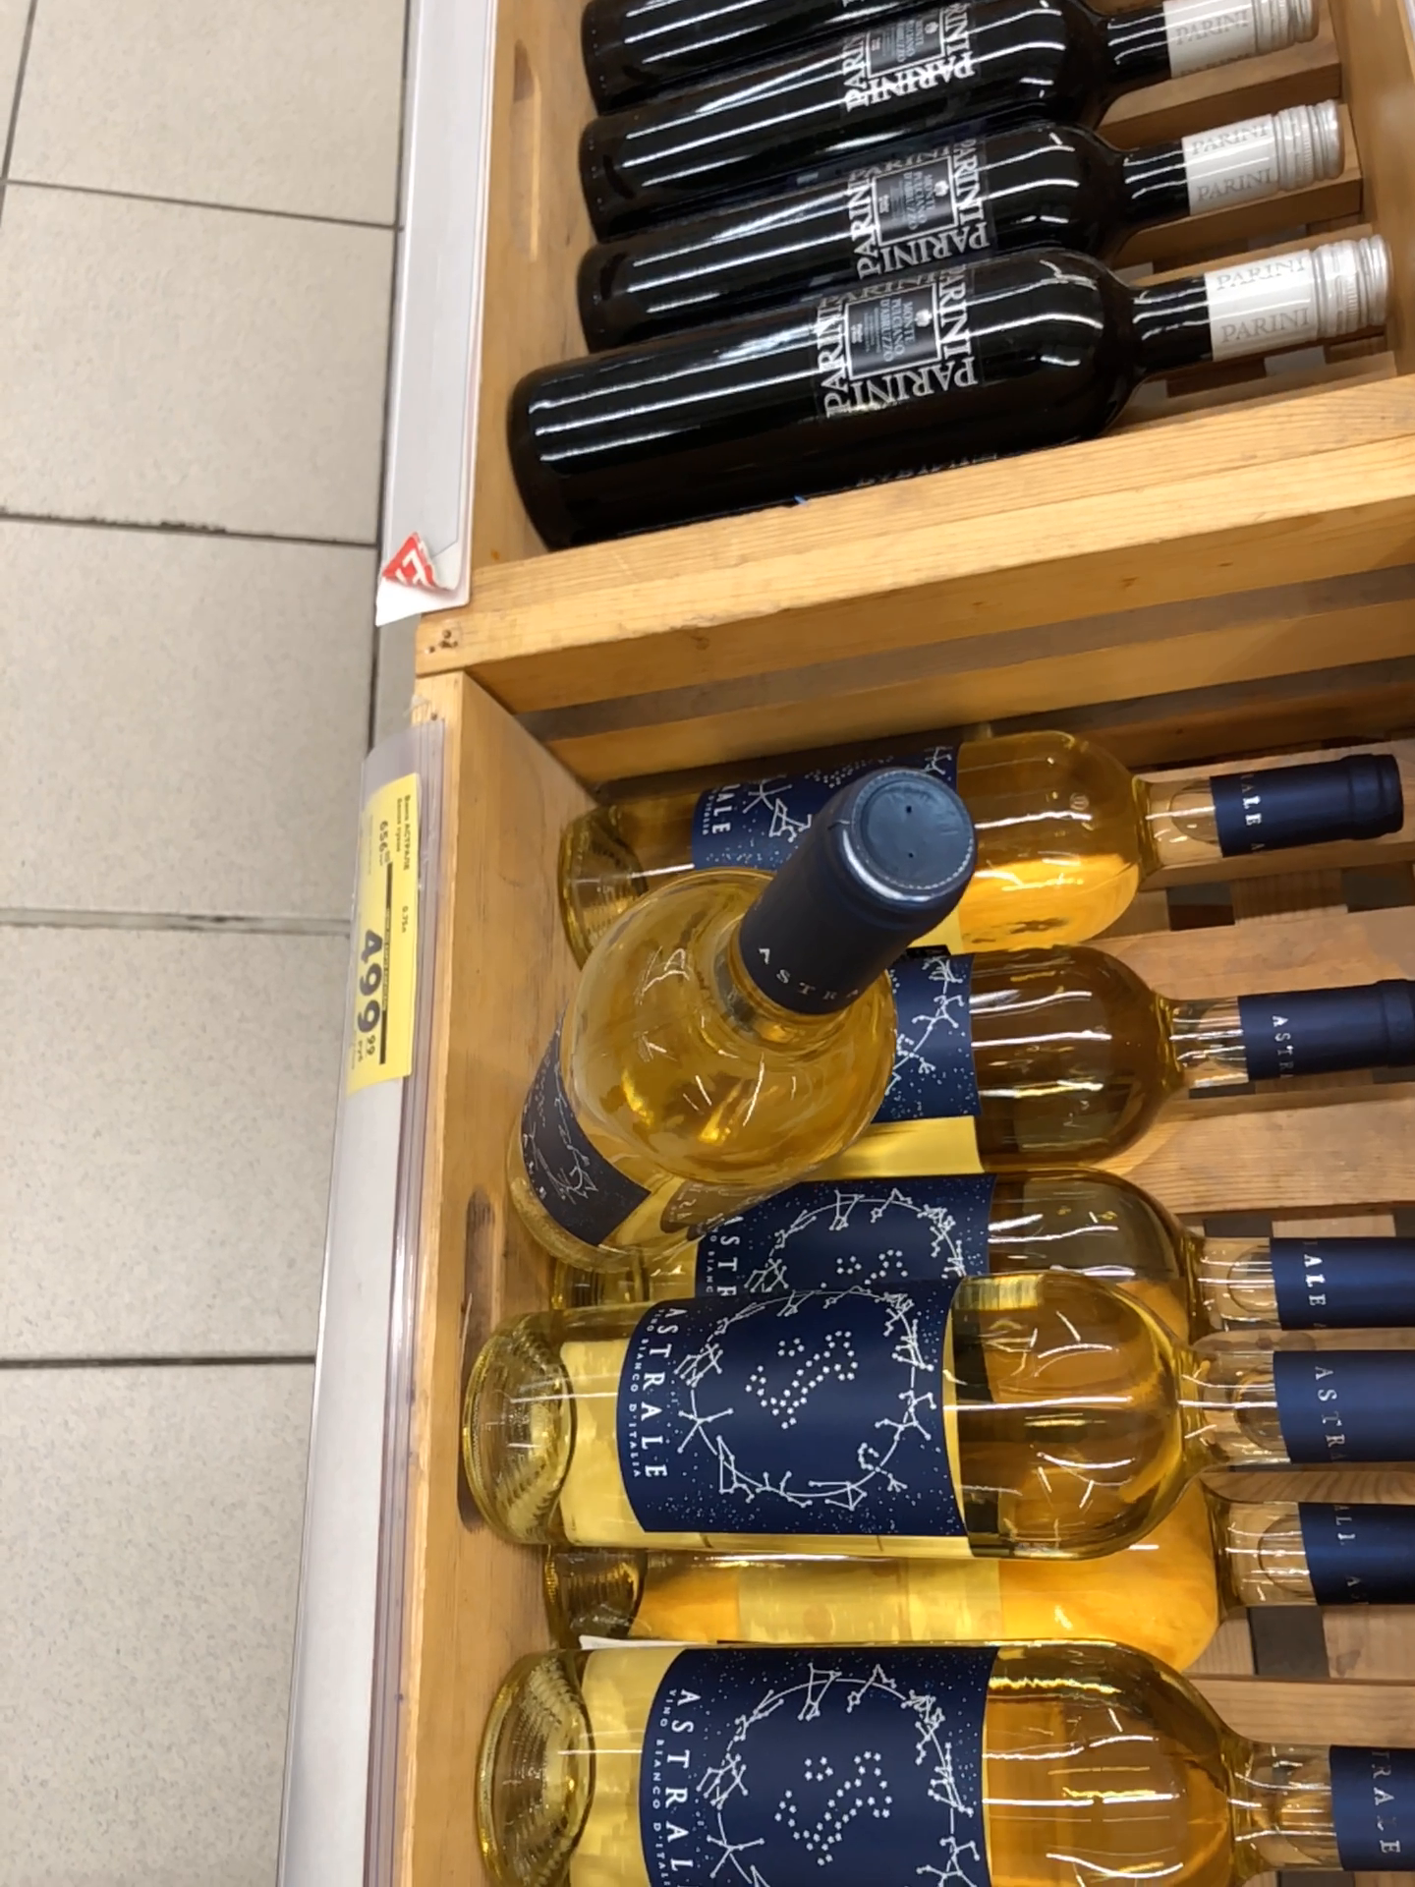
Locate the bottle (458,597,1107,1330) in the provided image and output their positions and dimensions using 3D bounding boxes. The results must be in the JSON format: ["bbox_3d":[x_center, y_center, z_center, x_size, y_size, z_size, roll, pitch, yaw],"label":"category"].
[{"bbox_3d":[-0.004,0.033,0.388,0.080,0.279,0.090,12,70,-9],"label":"bottle"}]
